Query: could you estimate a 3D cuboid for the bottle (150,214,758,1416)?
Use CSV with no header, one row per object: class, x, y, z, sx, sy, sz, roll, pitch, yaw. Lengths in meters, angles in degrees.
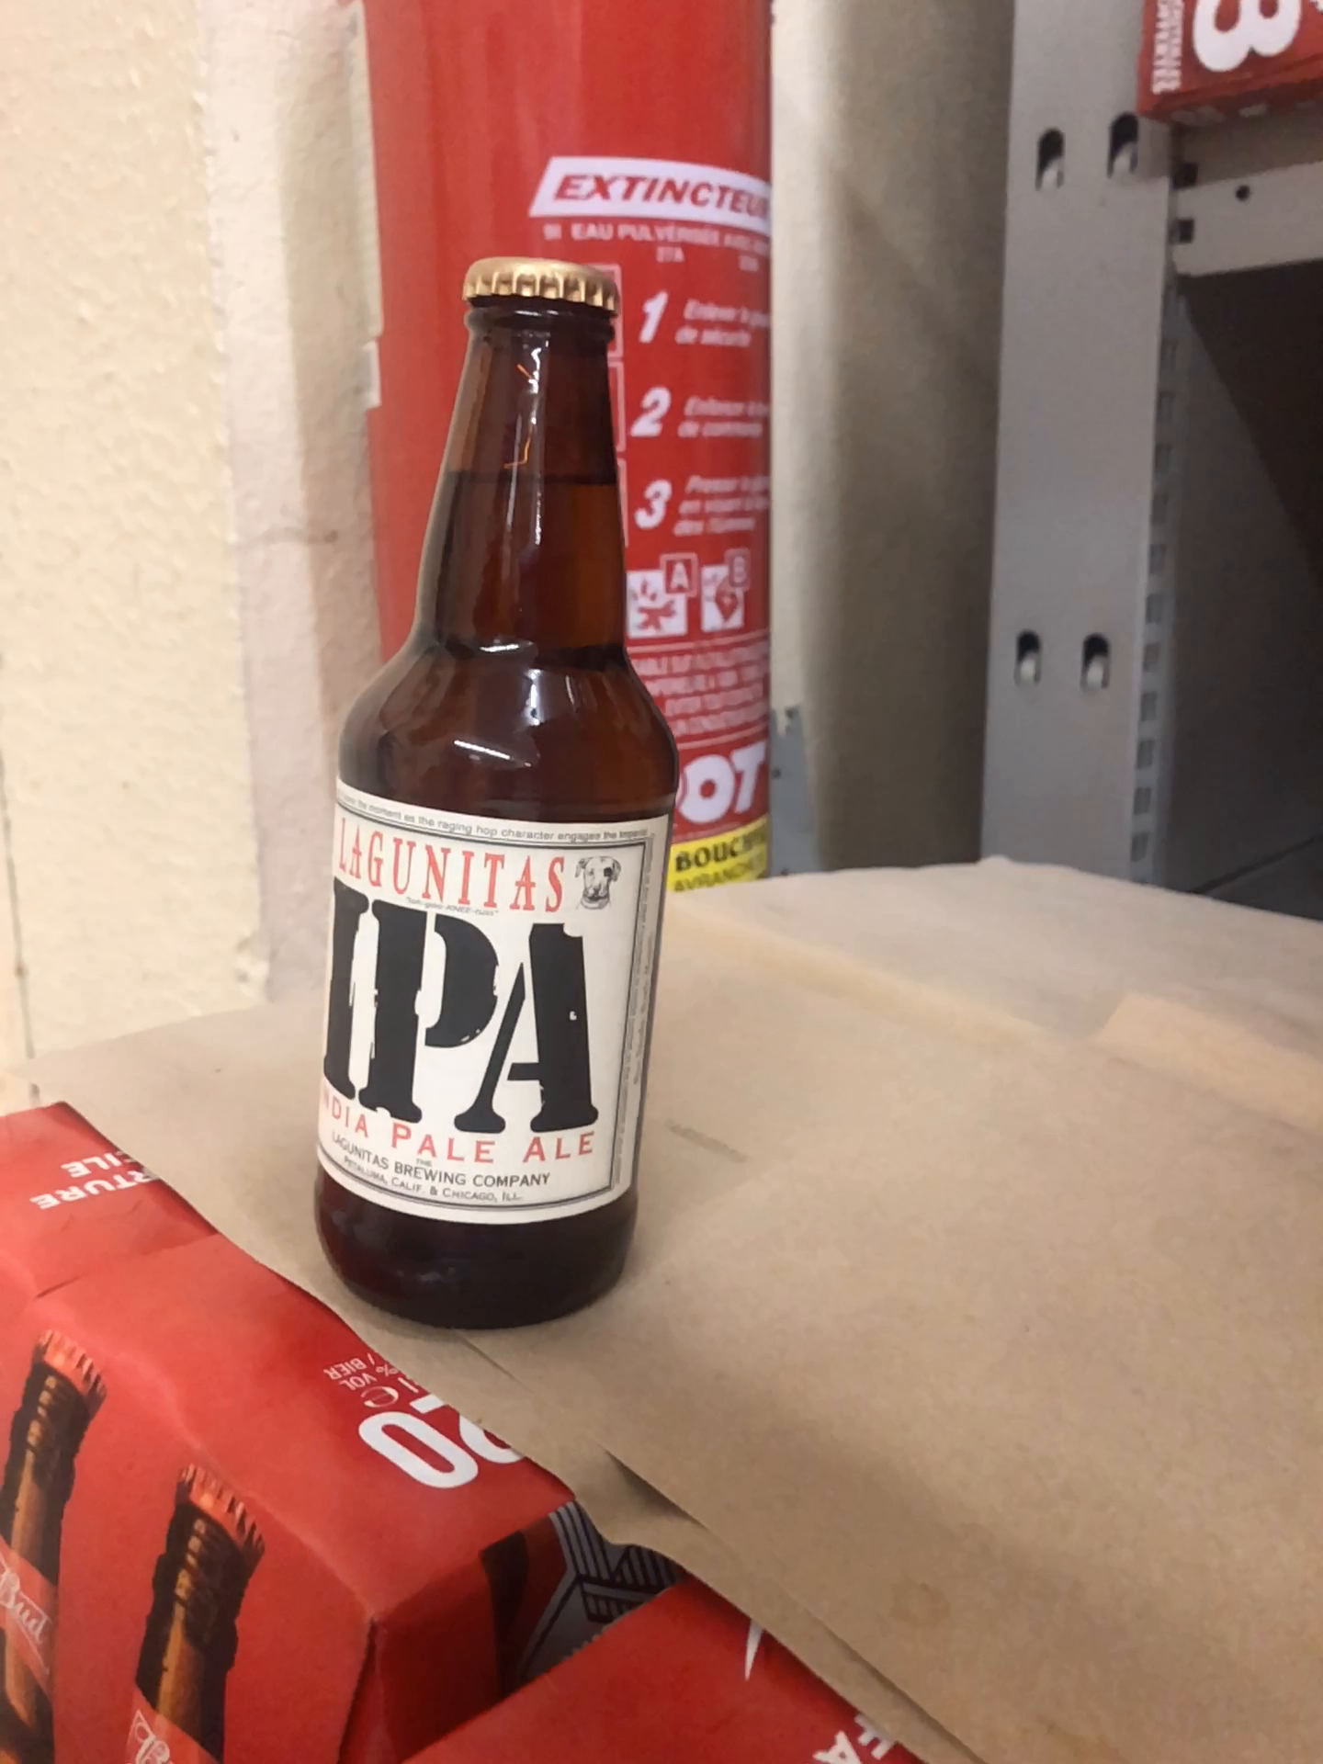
bottle,-0.037,-0.015,0.287,0.080,0.199,0.080,3,15,-1
